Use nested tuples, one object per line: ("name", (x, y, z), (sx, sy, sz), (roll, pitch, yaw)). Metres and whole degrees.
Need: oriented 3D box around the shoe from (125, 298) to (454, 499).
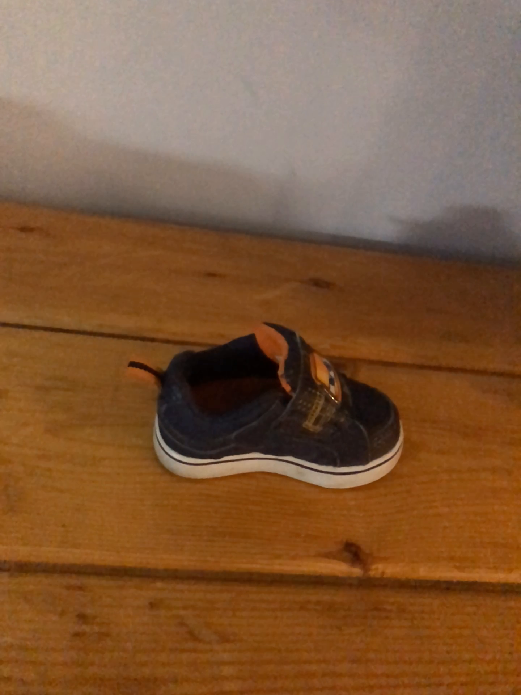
("shoe", (0.011, 0.031, 0.327), (0.160, 0.070, 0.070), (6, 44, -9))
